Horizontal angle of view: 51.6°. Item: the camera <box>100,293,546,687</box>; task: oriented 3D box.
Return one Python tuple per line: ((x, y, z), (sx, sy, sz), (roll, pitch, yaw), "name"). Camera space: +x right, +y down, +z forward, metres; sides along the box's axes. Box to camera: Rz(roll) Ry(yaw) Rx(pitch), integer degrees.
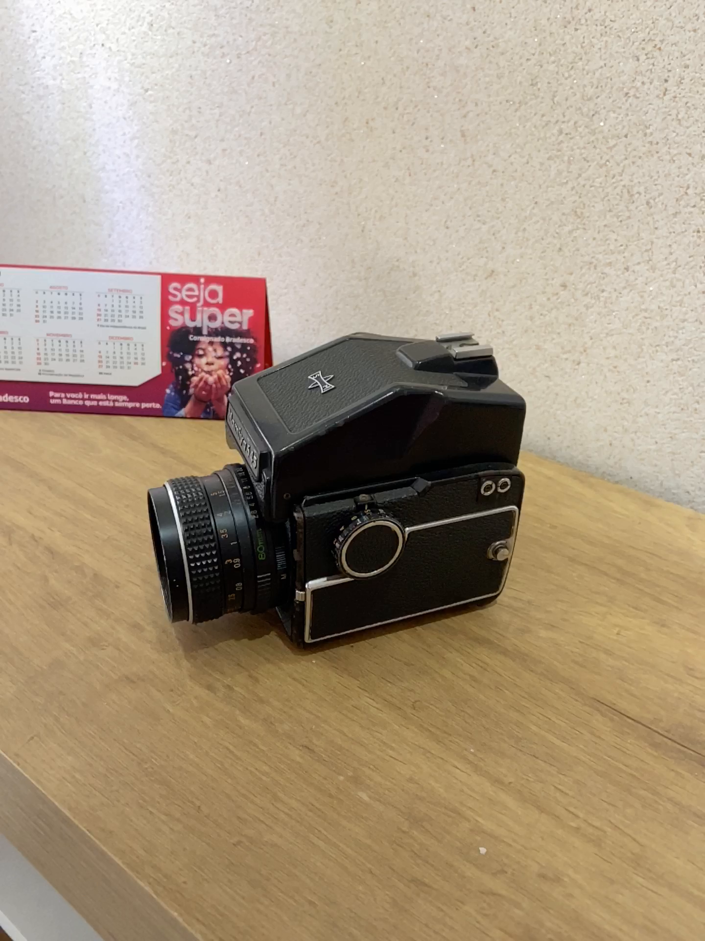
((-0.022, -0.005, 0.342), (0.160, 0.109, 0.131), (-9, 31, -18), "camera")
